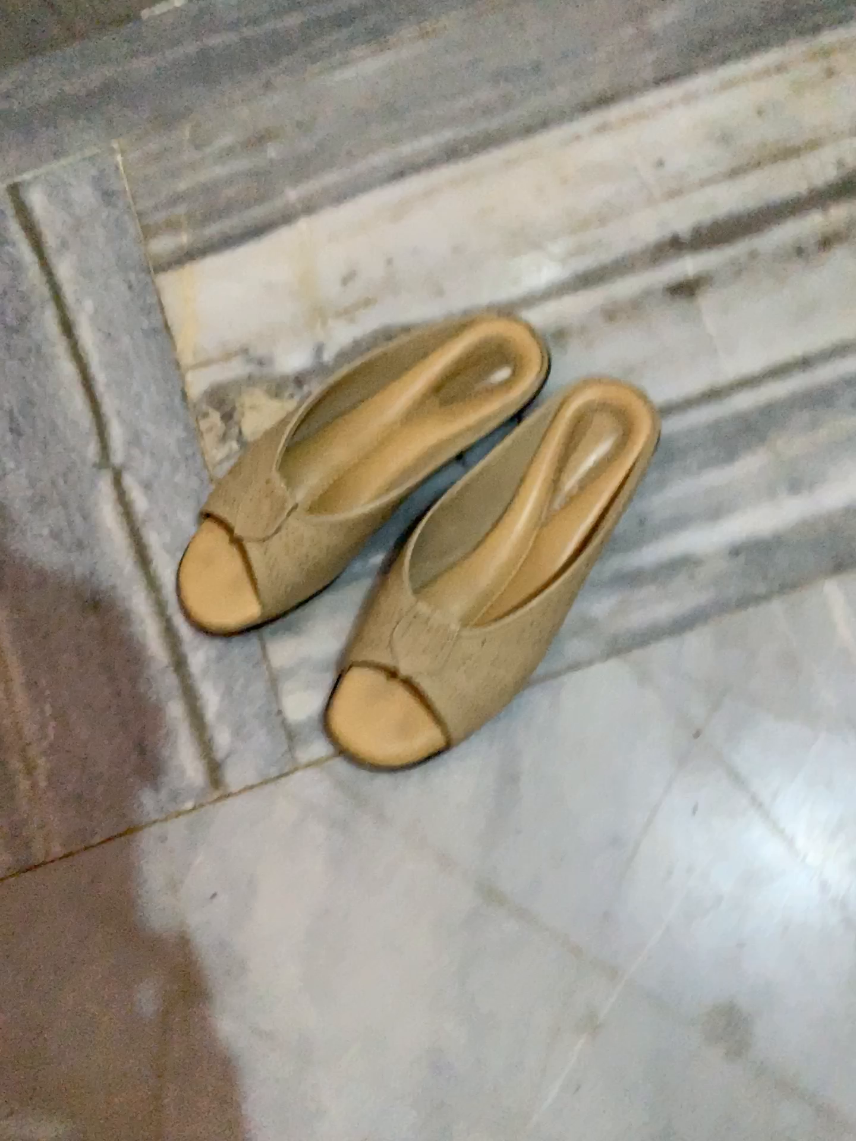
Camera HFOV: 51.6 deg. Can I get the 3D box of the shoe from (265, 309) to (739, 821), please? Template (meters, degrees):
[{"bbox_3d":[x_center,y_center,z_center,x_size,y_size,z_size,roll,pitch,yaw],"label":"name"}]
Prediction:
[{"bbox_3d":[0.042,-0.002,0.473,0.095,0.070,0.260,37,82,14],"label":"shoe"}]

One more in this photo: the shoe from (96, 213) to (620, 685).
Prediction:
[{"bbox_3d":[-0.033,-0.065,0.492,0.274,0.070,0.095,-39,75,-5],"label":"shoe"}]
